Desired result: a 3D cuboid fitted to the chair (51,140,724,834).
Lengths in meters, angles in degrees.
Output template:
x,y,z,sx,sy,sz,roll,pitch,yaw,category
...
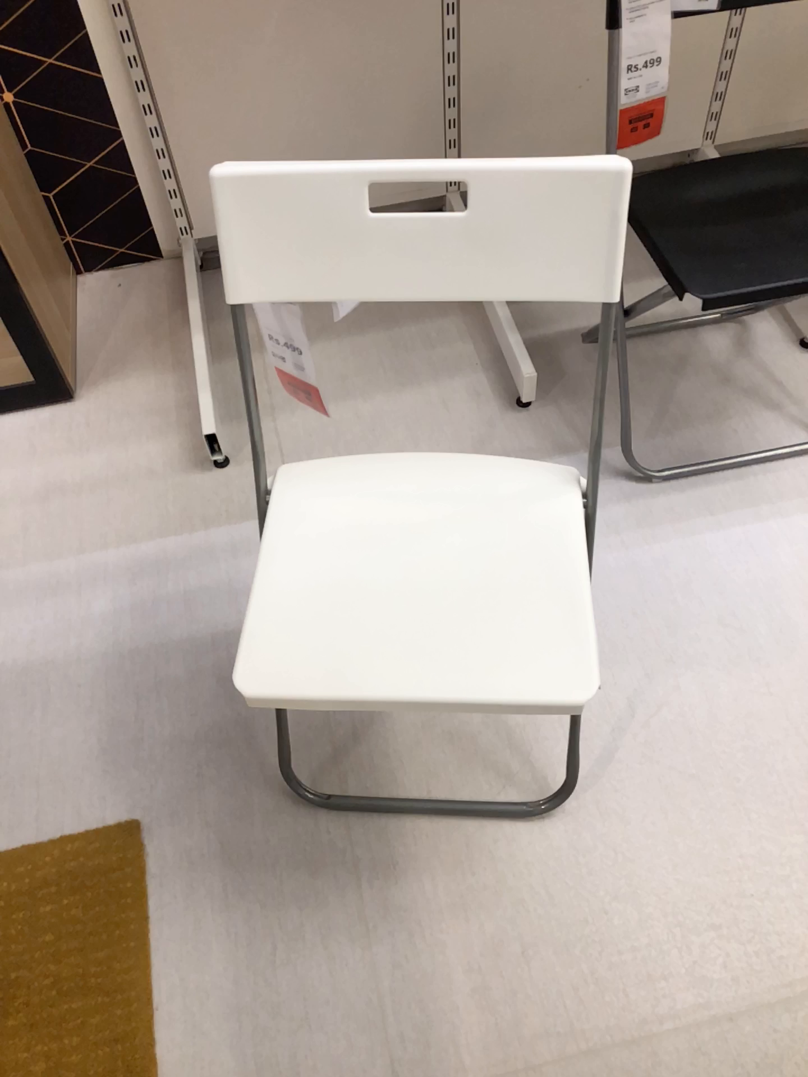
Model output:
x,y,z,sx,sy,sz,roll,pitch,yaw,category
0.016,0.008,1.001,0.450,0.726,0.402,1,54,5,chair
